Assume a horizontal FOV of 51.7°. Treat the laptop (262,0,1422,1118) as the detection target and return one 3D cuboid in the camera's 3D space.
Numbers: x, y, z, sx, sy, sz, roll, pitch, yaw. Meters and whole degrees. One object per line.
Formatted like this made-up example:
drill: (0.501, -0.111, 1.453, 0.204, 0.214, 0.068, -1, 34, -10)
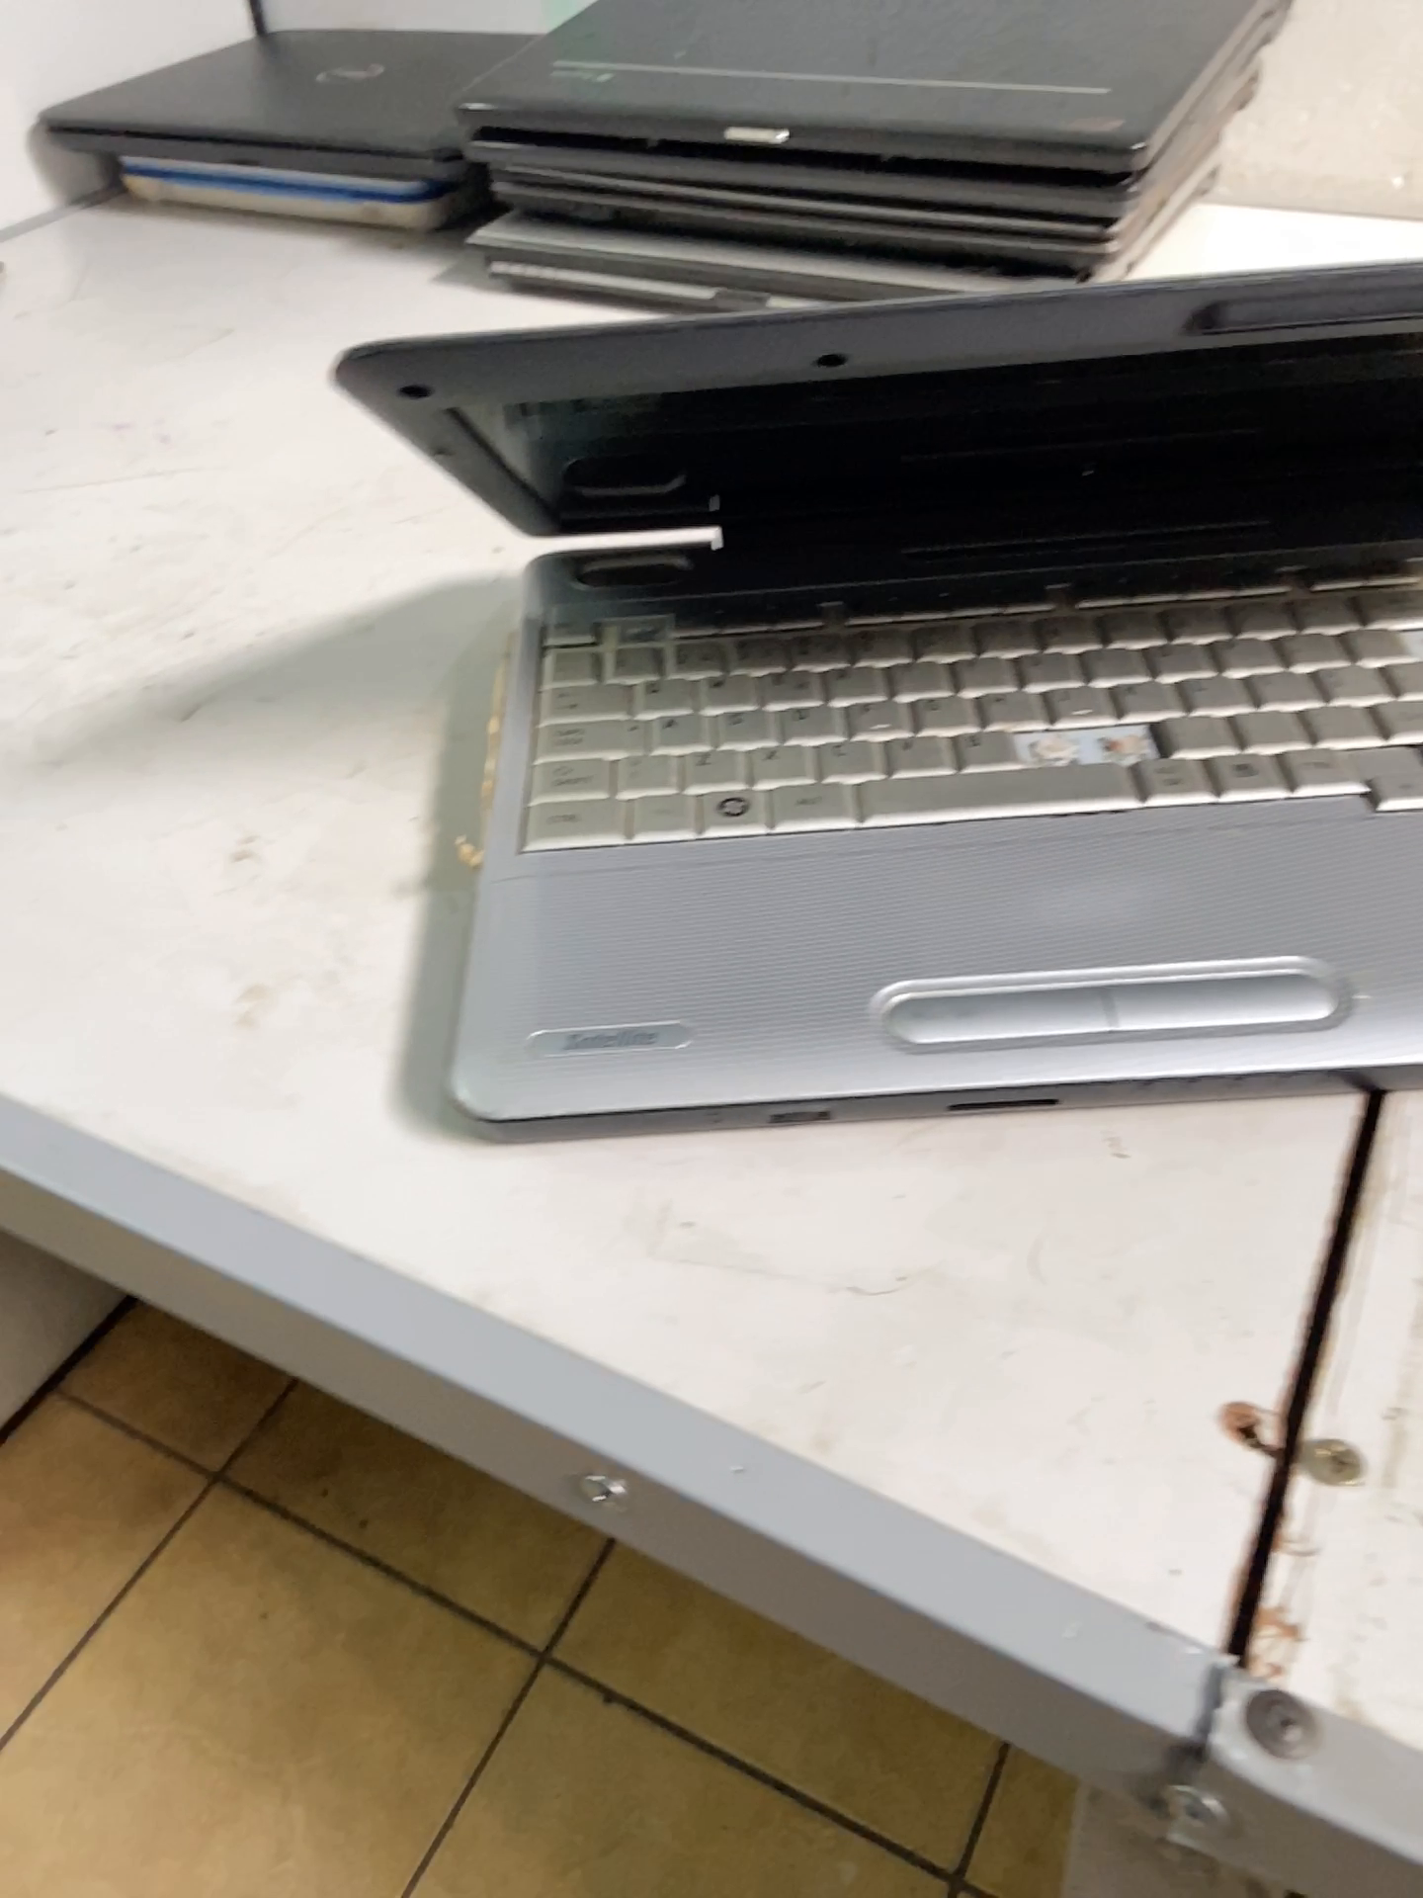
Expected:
laptop: (0.120, -0.116, 0.367, 0.371, 0.143, 0.257, -4, 42, 1)
